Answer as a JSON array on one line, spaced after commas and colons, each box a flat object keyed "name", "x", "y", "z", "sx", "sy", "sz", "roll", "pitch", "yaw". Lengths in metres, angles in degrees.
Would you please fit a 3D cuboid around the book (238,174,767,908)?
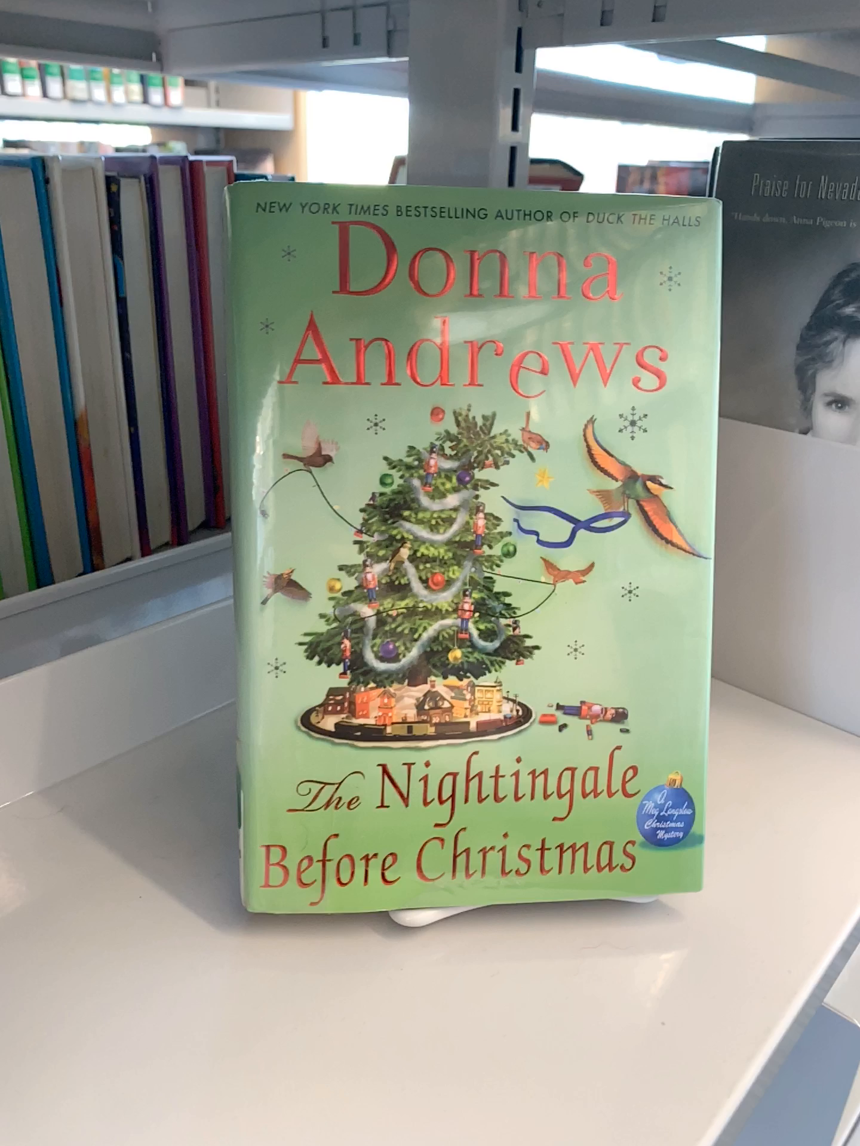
[{"name": "book", "x": 0.019, "y": -0.007, "z": 0.269, "sx": 0.145, "sy": 0.200, "sz": 0.040, "roll": 0, "pitch": 5, "yaw": -6}]
